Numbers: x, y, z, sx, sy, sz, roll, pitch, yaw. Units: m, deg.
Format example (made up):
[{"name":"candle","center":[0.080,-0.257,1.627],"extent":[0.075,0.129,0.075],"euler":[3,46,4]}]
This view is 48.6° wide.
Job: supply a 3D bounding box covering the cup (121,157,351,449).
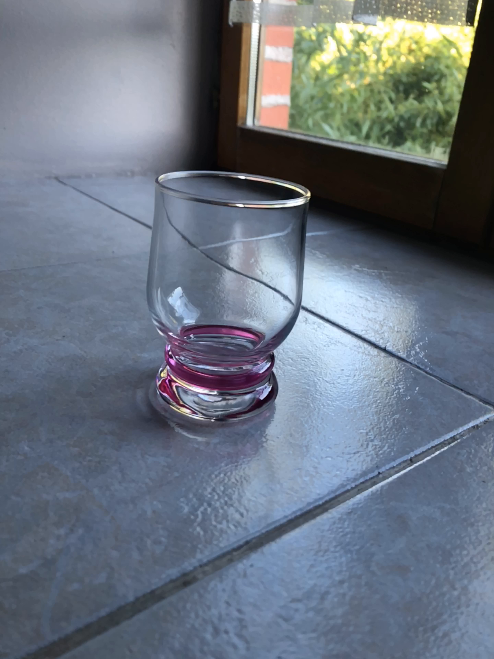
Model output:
[{"name":"cup","center":[-0.003,-0.018,0.255],"extent":[0.079,0.102,0.079],"euler":[4,25,-2]}]
